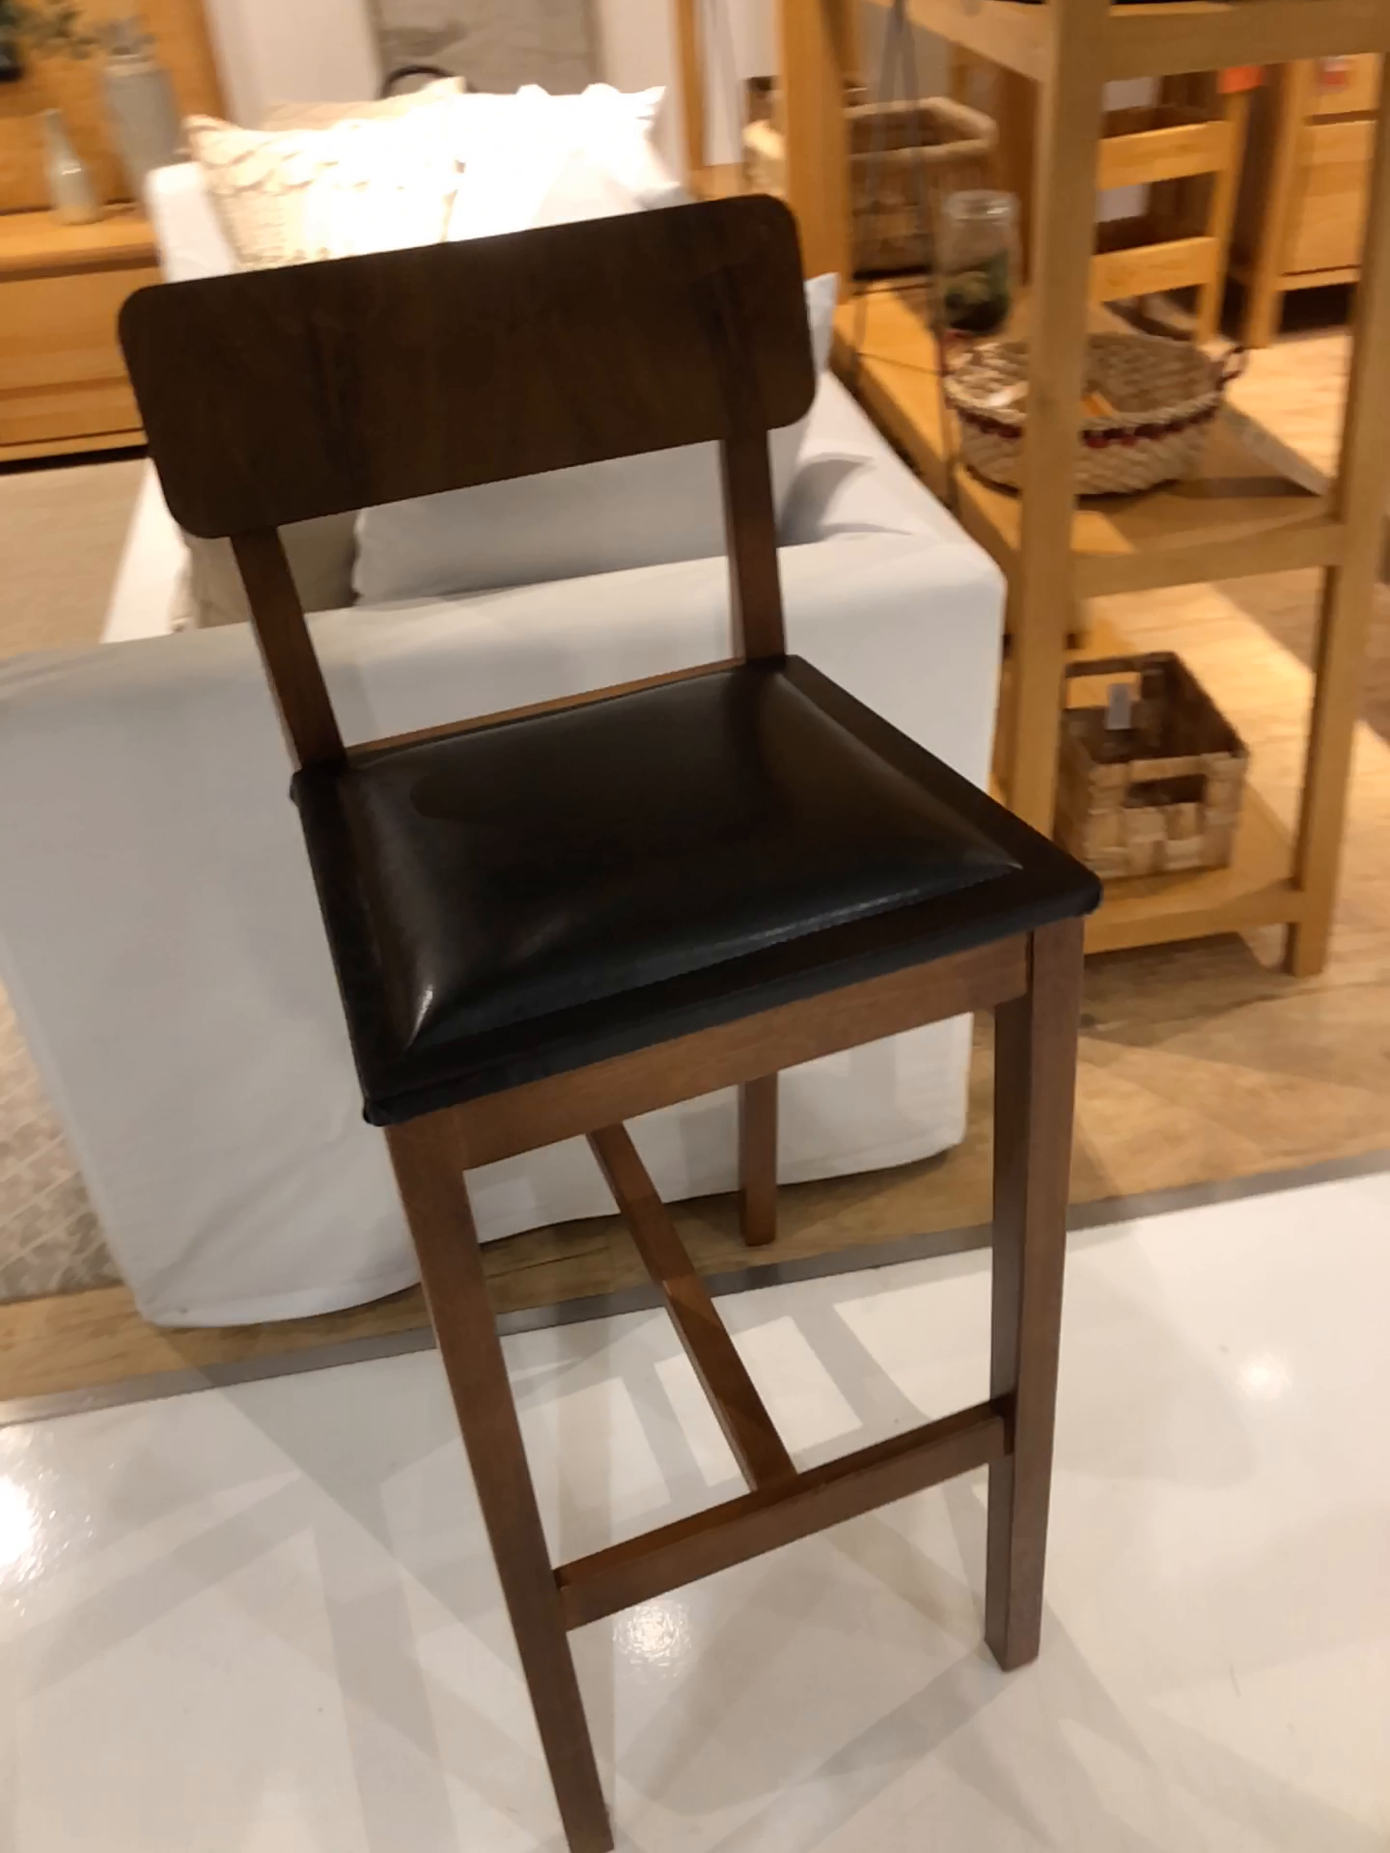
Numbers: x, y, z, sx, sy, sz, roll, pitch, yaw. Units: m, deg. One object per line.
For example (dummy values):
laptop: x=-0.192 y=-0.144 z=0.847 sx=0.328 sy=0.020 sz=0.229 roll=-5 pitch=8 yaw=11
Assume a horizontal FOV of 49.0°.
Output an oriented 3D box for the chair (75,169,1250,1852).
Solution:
chair: x=-0.039 y=0.092 z=1.072 sx=0.440 sy=1.002 sz=0.534 roll=-16 pitch=38 yaw=-15
